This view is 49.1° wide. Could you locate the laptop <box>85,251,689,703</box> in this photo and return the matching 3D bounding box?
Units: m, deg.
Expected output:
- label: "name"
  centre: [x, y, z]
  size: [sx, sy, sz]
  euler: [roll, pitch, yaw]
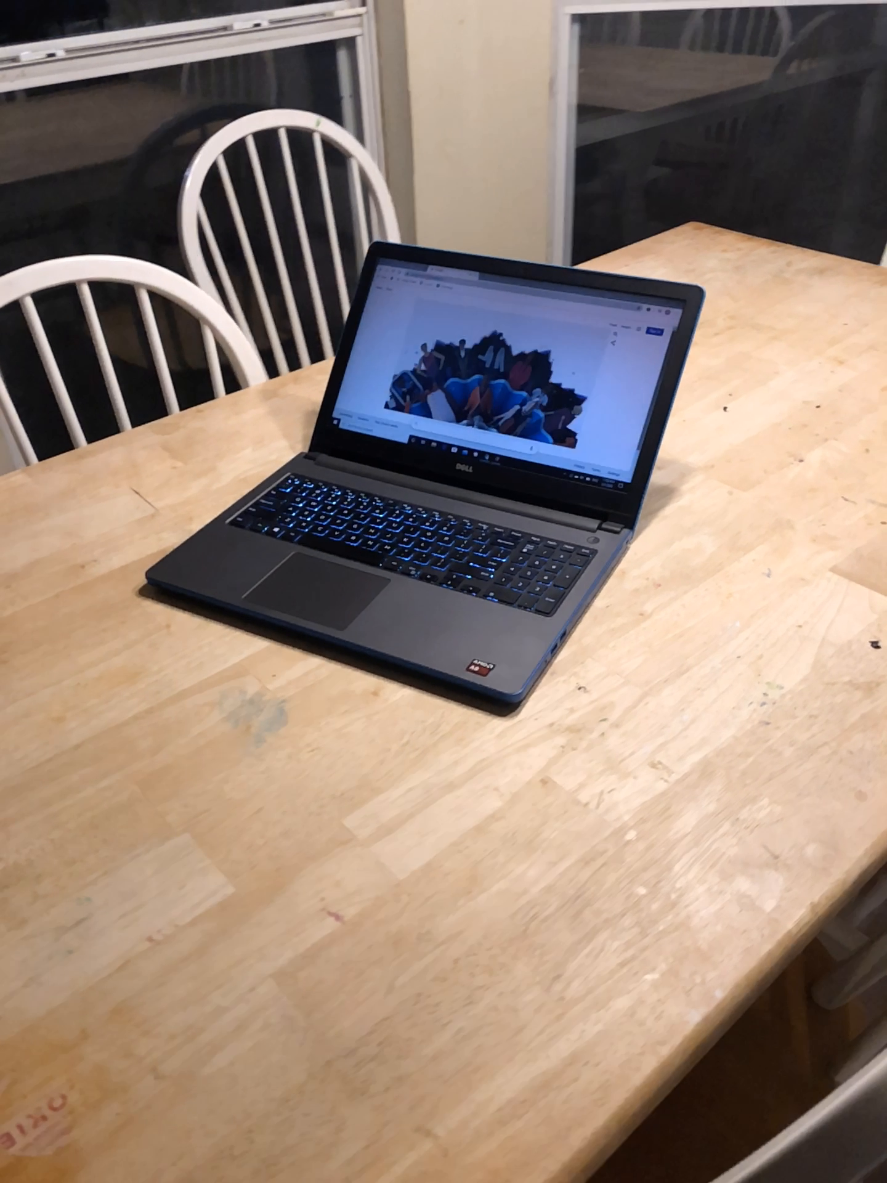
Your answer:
- label: "laptop"
  centre: [-0.022, -0.146, 0.897]
  size: [0.367, 0.174, 0.420]
  euler: [16, 40, 24]
